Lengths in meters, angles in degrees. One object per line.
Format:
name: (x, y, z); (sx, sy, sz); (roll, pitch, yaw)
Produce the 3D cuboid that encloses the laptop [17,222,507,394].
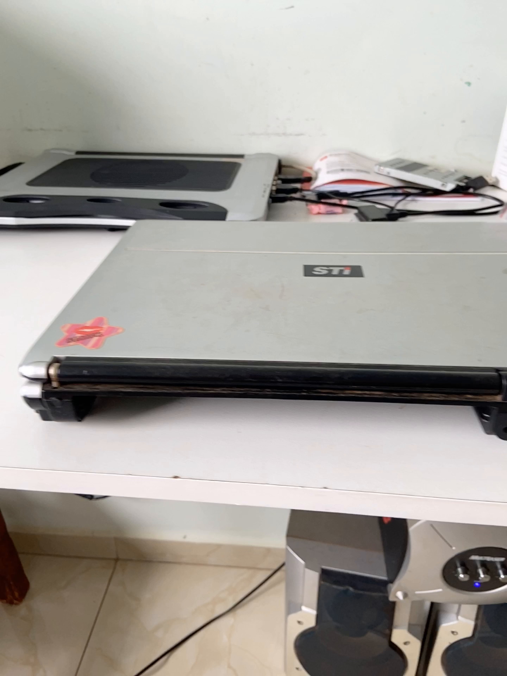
laptop: (0.053, -0.039, 0.360); (0.338, 0.004, 0.235); (1, 31, 4)
